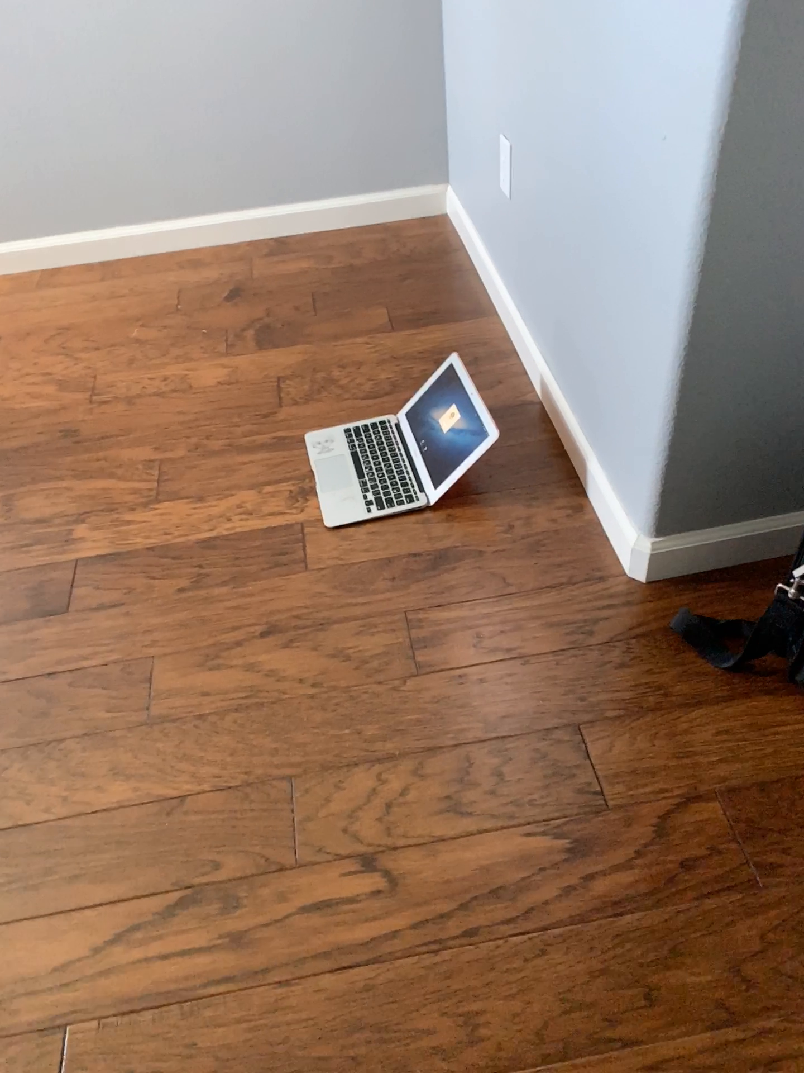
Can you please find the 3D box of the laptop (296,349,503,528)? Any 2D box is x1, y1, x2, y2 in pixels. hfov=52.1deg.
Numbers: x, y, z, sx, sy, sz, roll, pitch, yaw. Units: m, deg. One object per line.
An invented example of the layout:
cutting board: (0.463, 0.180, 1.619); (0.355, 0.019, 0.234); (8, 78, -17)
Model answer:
laptop: (-0.012, -0.188, 1.502); (0.322, 0.117, 0.295); (-13, 42, -4)
